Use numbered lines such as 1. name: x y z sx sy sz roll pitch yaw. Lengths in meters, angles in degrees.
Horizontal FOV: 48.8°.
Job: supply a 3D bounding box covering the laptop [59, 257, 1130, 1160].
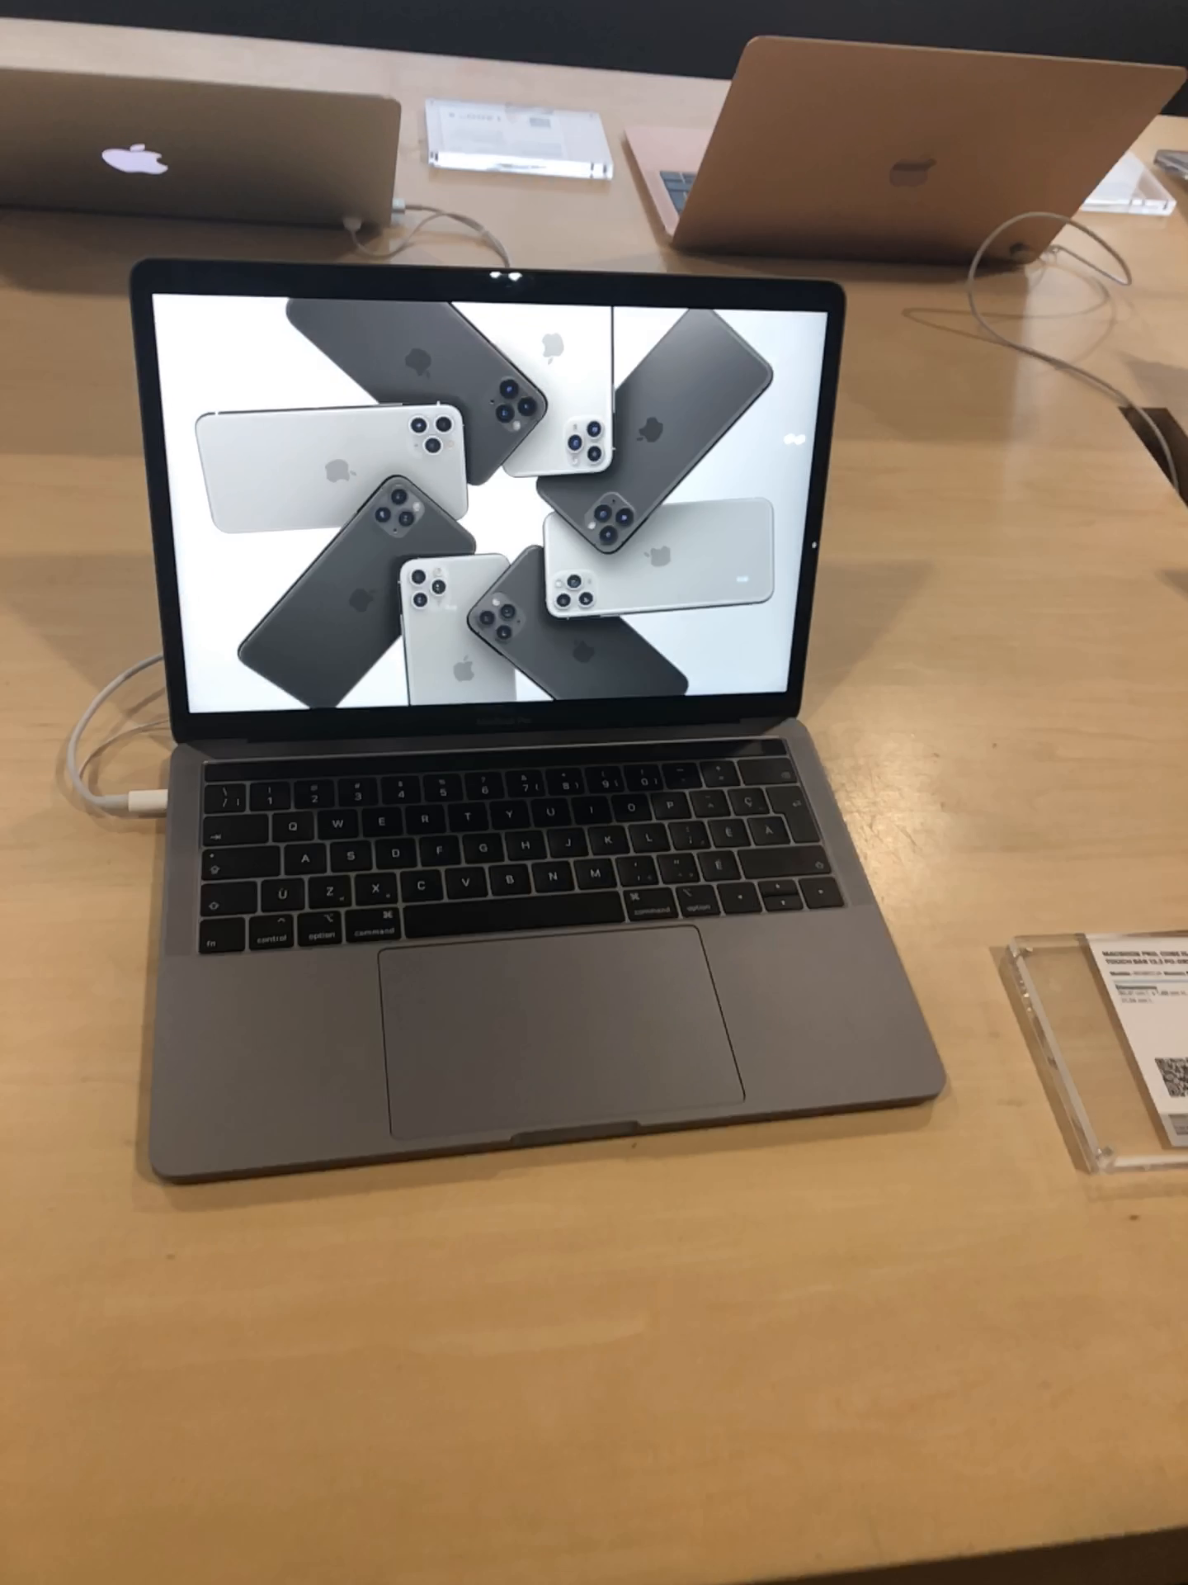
1. laptop: -0.026 -0.047 0.516 0.296 0.181 0.296 -3 48 -13
